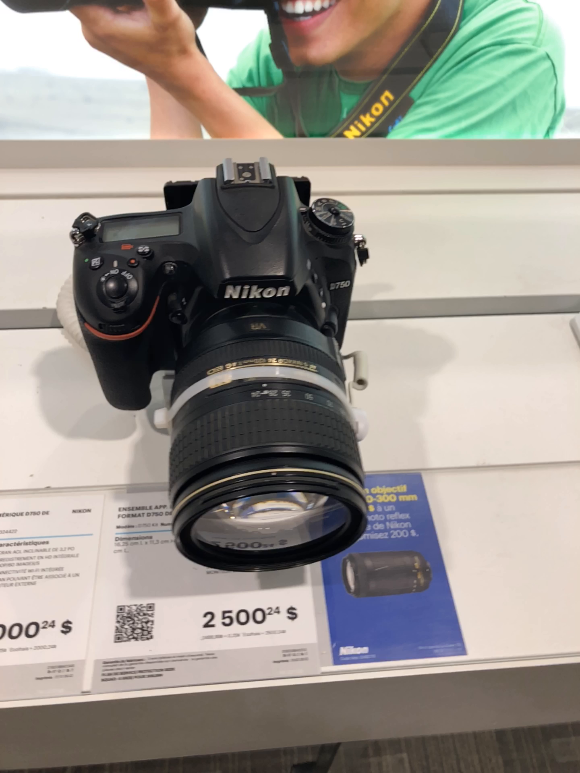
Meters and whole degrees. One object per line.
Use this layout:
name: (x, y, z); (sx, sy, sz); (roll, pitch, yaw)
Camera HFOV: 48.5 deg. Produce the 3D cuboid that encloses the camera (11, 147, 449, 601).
camera: (-0.030, -0.017, 0.300); (0.138, 0.099, 0.184); (-4, 49, -7)
